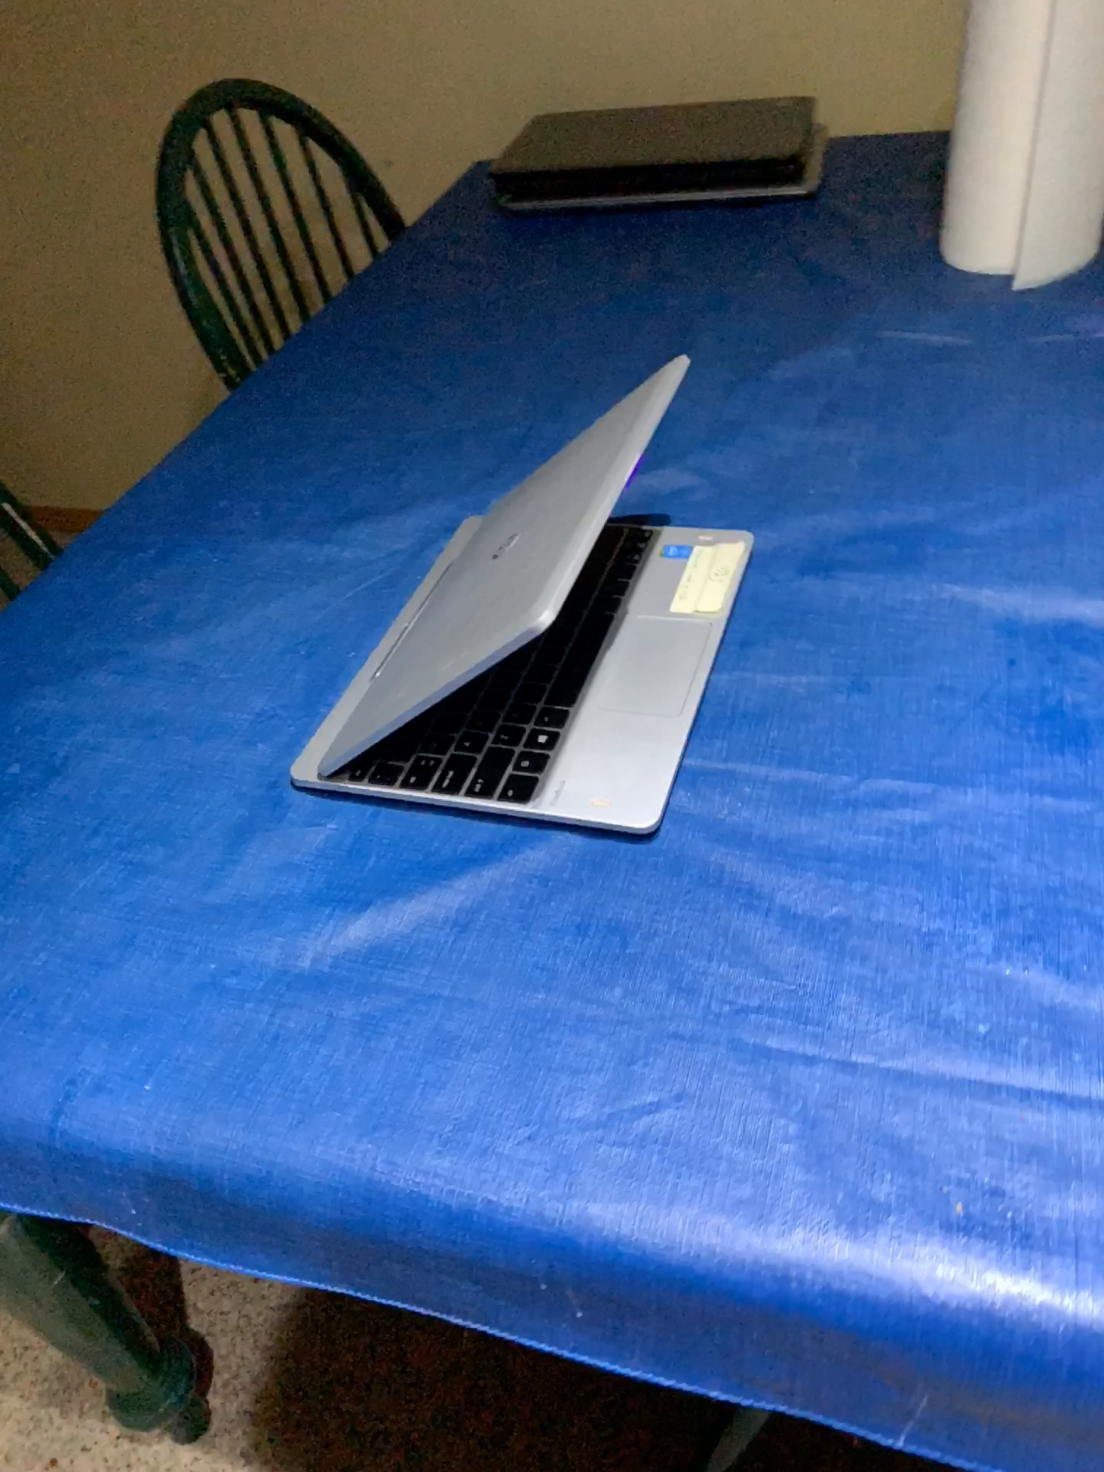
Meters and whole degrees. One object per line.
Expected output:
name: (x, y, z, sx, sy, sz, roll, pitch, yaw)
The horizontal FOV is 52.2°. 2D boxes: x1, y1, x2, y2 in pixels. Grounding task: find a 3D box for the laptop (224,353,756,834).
laptop: (-0.011, -0.102, 0.645, 0.207, 0.122, 0.281, 6, 42, 19)
